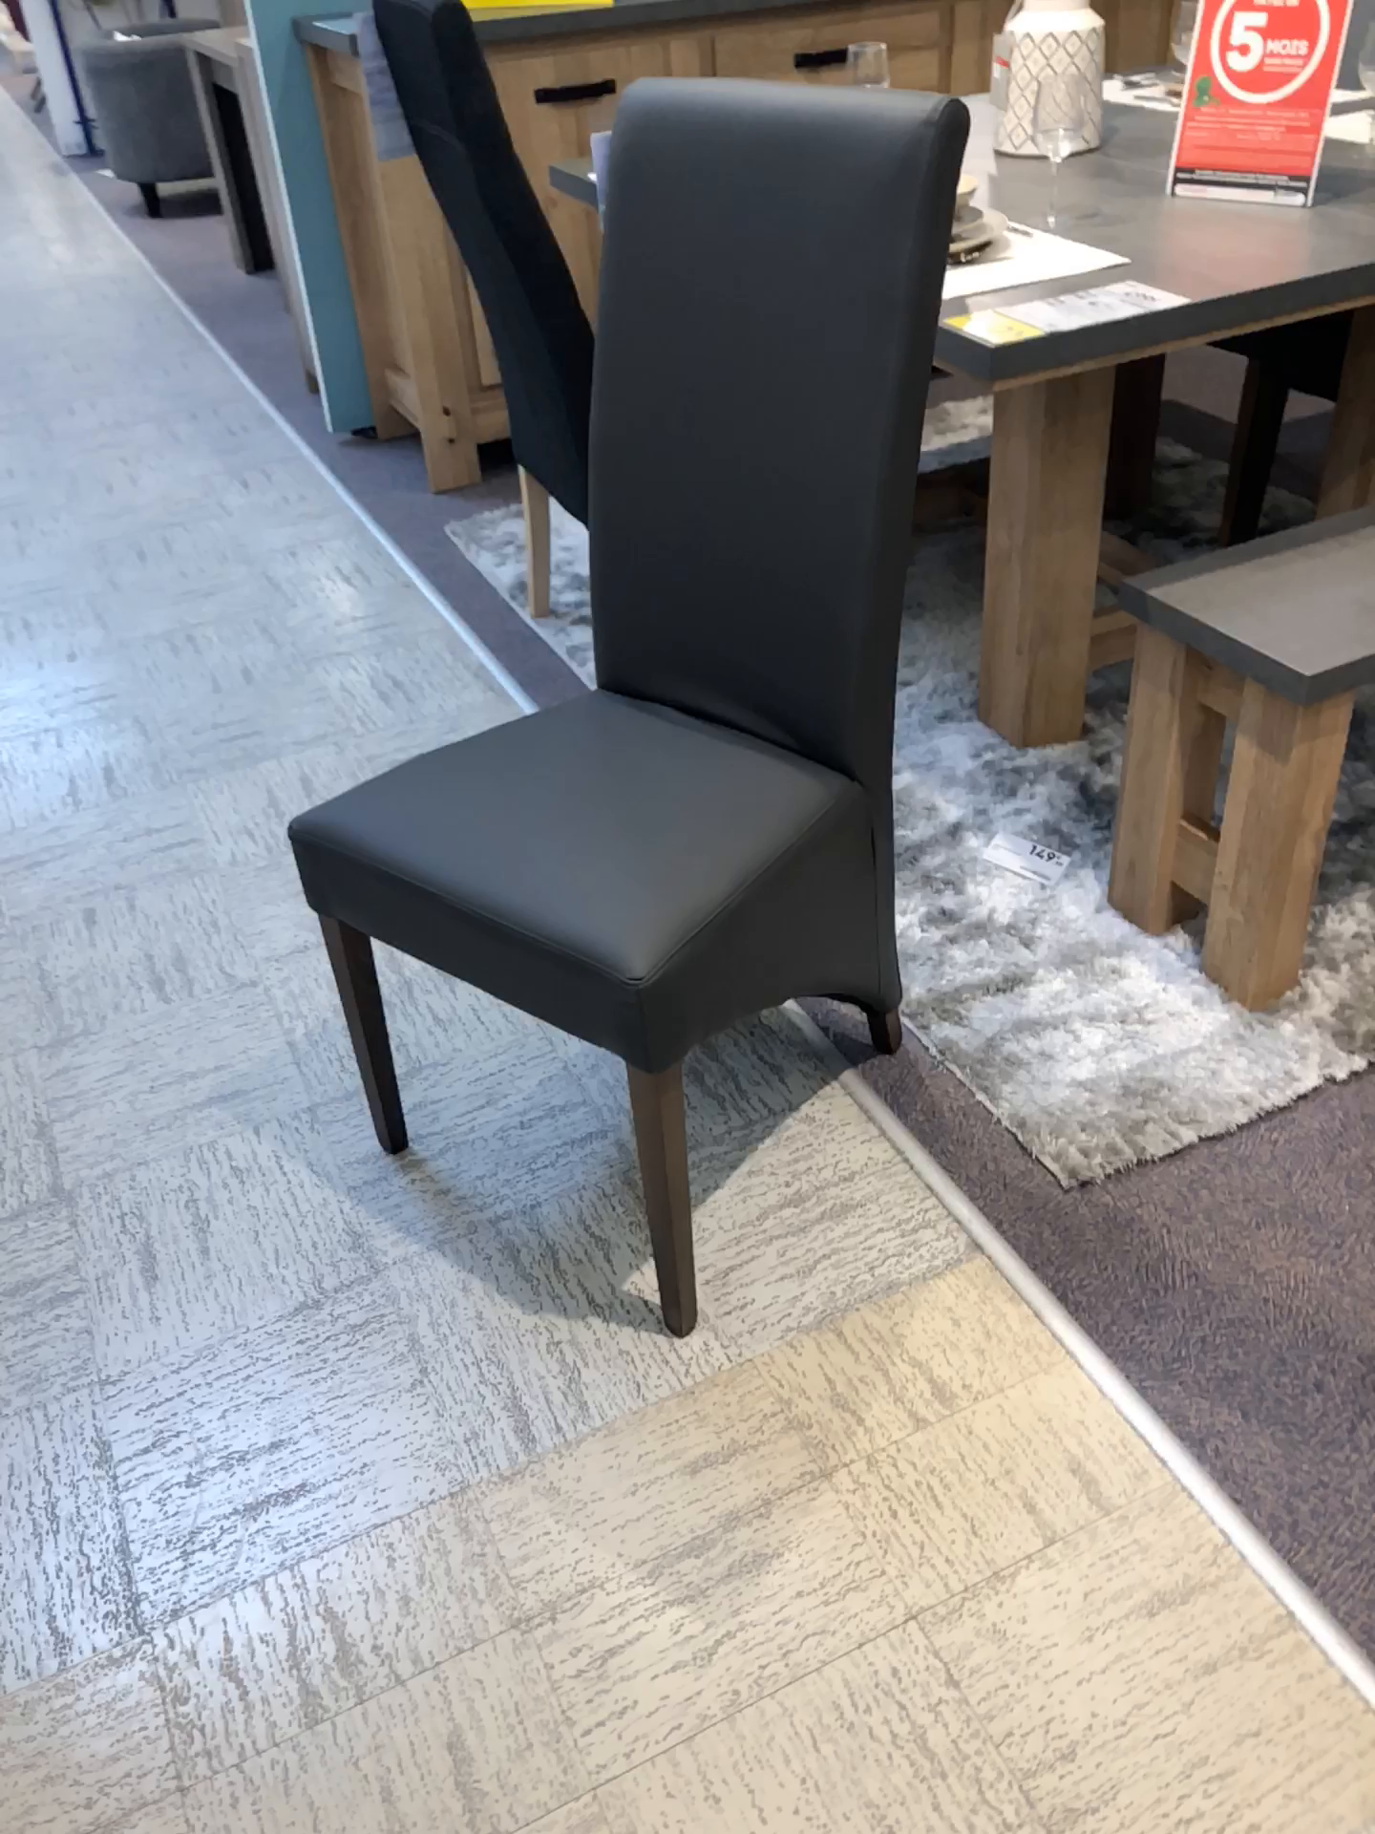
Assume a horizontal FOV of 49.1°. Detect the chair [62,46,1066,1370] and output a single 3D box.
[{"bbox_3d":[-0.050,-0.211,1.440,0.520,1.014,0.573,22,43,32],"label":"chair"}]
